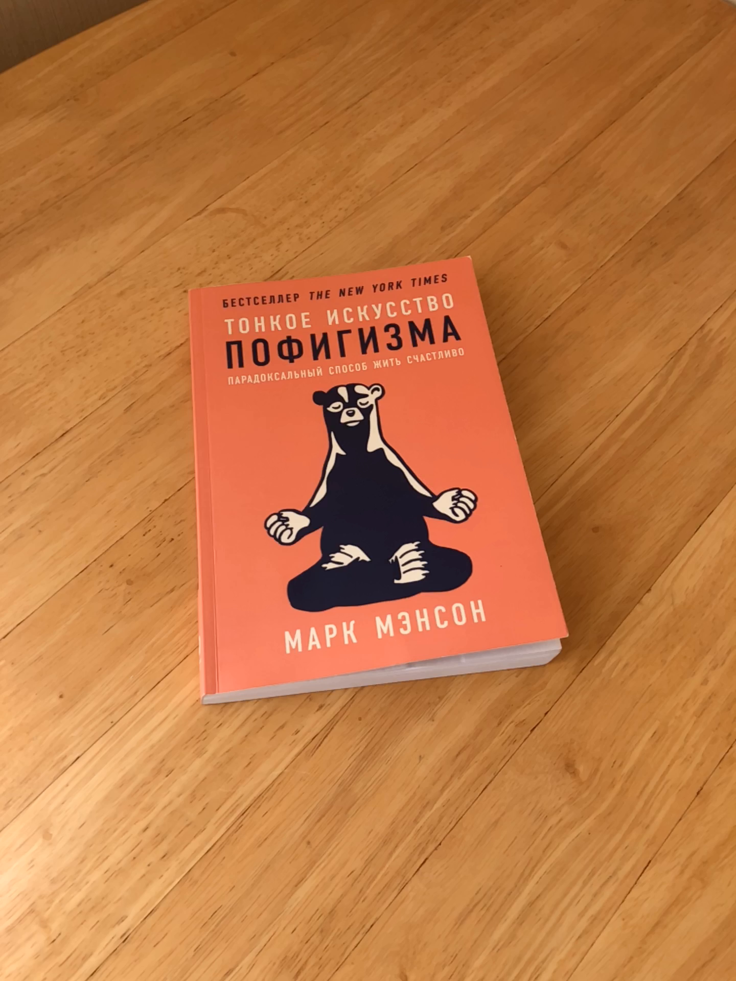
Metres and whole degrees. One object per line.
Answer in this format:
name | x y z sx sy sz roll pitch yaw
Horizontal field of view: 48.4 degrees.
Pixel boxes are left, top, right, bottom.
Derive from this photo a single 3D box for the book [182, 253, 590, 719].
book | -0.003 -0.013 0.357 0.143 0.033 0.197 -6 62 -5
